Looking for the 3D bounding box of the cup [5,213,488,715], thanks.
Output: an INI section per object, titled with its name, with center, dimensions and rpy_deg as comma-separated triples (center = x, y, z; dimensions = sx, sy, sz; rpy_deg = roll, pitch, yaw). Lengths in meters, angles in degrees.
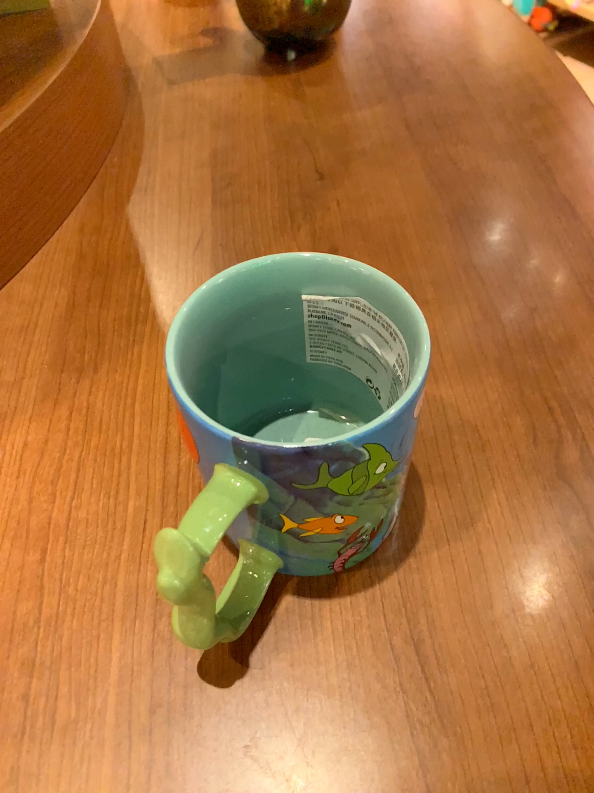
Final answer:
[cup]
center = -0.008, 0.022, 0.237
dimensions = 0.091, 0.101, 0.135
rpy_deg = 29, 58, 23
